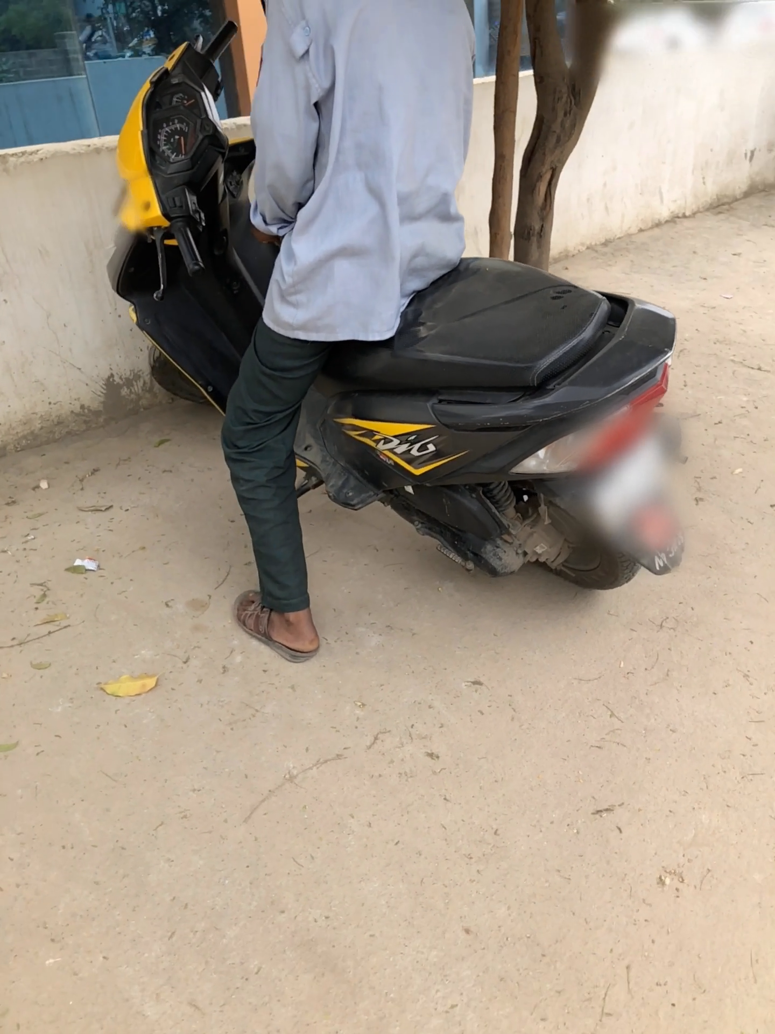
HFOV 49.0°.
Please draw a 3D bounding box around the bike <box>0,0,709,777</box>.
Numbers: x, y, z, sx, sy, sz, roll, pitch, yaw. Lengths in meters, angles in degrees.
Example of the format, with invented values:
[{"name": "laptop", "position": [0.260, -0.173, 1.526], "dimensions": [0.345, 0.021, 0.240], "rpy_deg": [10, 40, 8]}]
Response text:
[{"name": "bike", "position": [-0.282, -0.439, 1.810], "dimensions": [1.571, 1.145, 0.637], "rpy_deg": [22, 39, 32]}]
